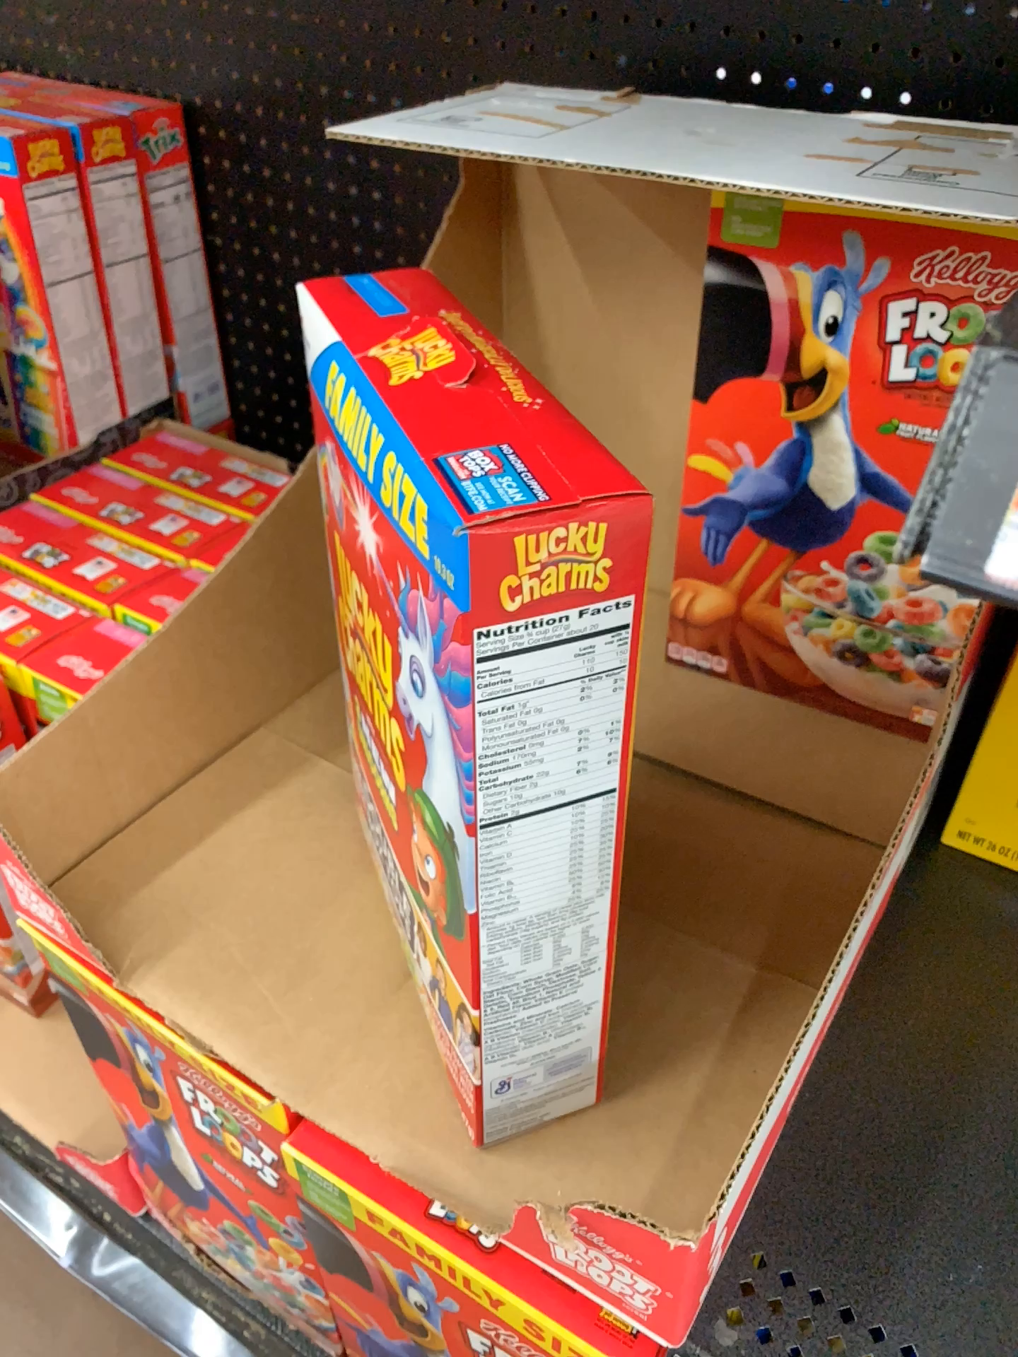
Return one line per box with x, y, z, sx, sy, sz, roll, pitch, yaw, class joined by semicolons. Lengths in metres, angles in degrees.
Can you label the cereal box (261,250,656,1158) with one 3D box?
-0.031;0.006;0.434;0.060;0.289;0.231;-13;38;-17;cereal box
